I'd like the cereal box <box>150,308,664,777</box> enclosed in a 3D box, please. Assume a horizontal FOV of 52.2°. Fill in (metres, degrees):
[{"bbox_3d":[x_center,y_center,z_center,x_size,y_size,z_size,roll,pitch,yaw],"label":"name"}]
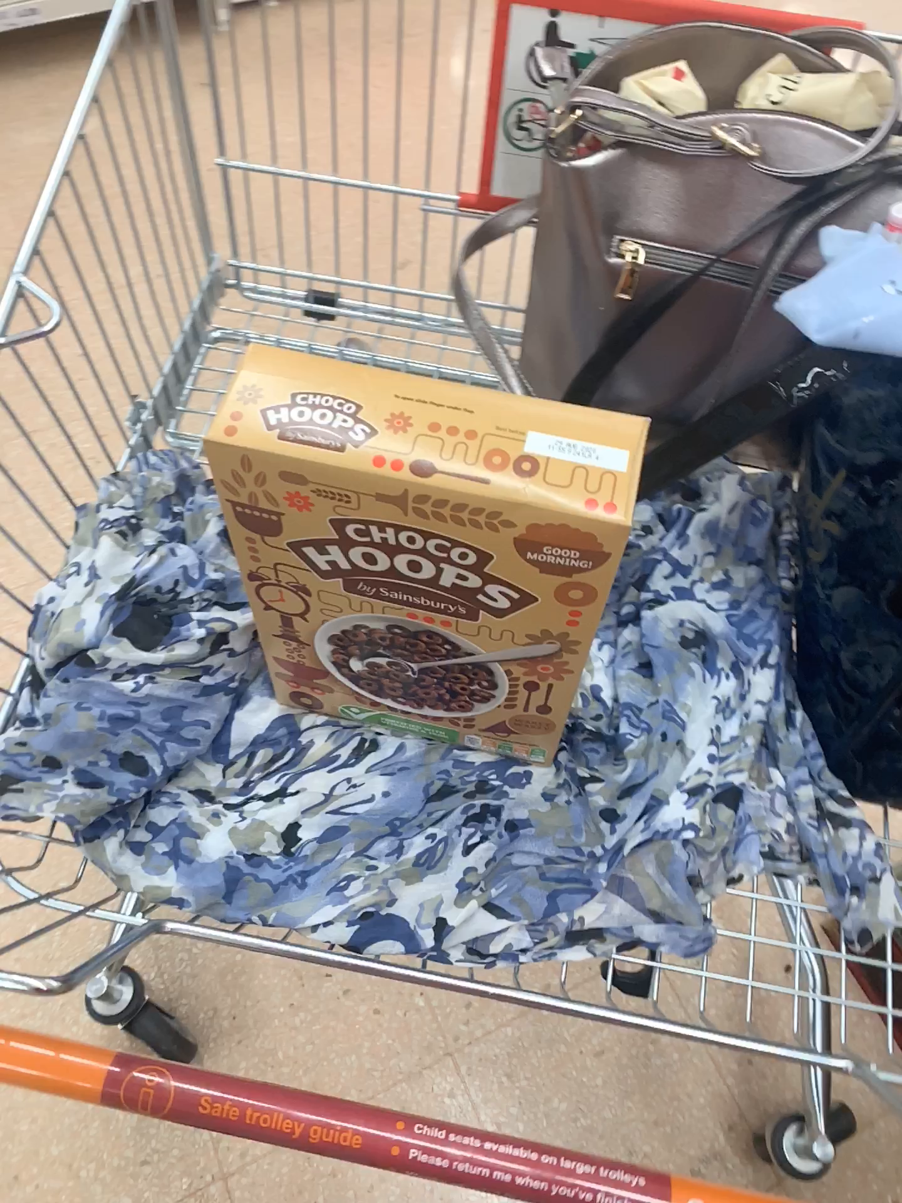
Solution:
[{"bbox_3d":[-0.026,-0.009,0.539,0.220,0.298,0.070,12,58,3],"label":"cereal box"}]
